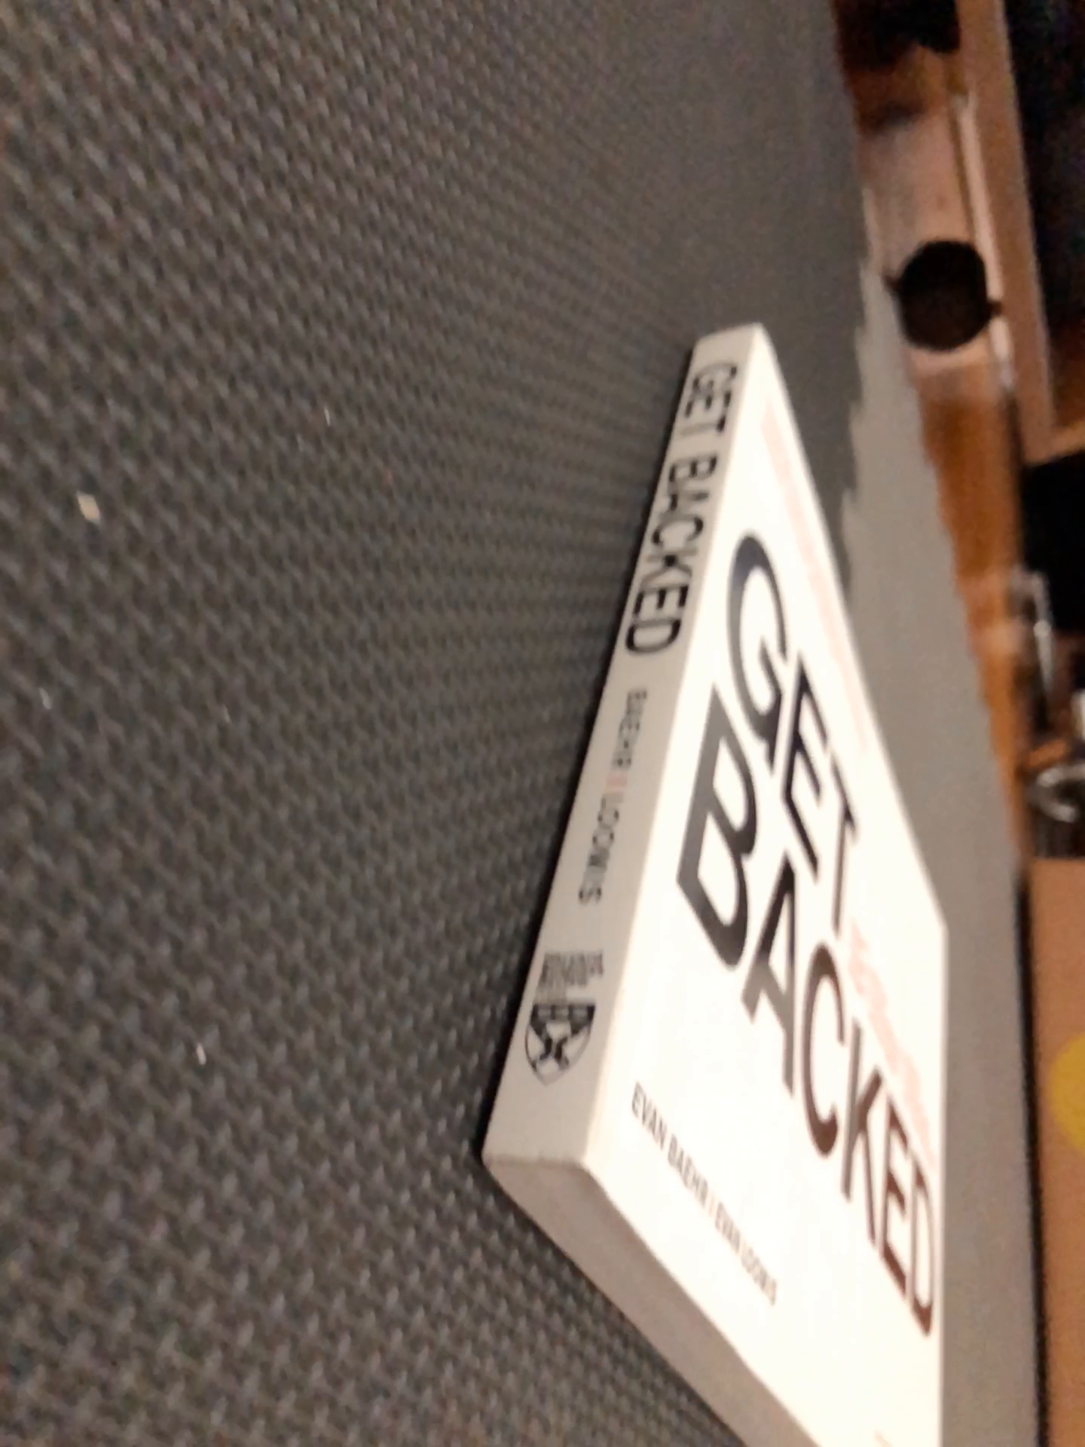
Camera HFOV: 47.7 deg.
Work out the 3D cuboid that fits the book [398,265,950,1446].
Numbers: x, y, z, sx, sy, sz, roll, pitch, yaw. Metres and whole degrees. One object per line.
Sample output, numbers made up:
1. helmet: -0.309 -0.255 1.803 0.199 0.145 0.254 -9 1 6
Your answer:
1. book: 0.064 0.064 0.293 0.260 0.020 0.211 60 34 -41
